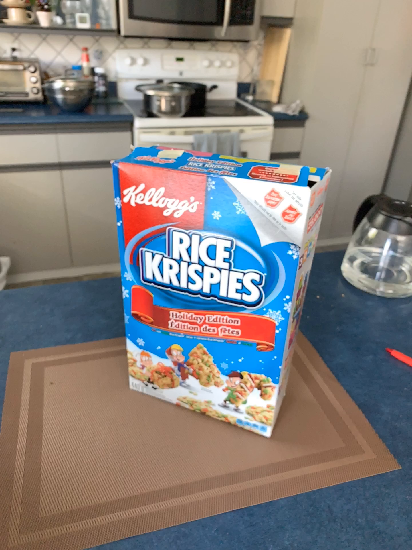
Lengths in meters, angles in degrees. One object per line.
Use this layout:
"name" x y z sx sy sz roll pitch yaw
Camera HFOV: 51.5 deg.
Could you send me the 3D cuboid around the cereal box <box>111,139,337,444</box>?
"cereal box" 0.009 0.024 0.520 0.220 0.327 0.081 13 30 17
